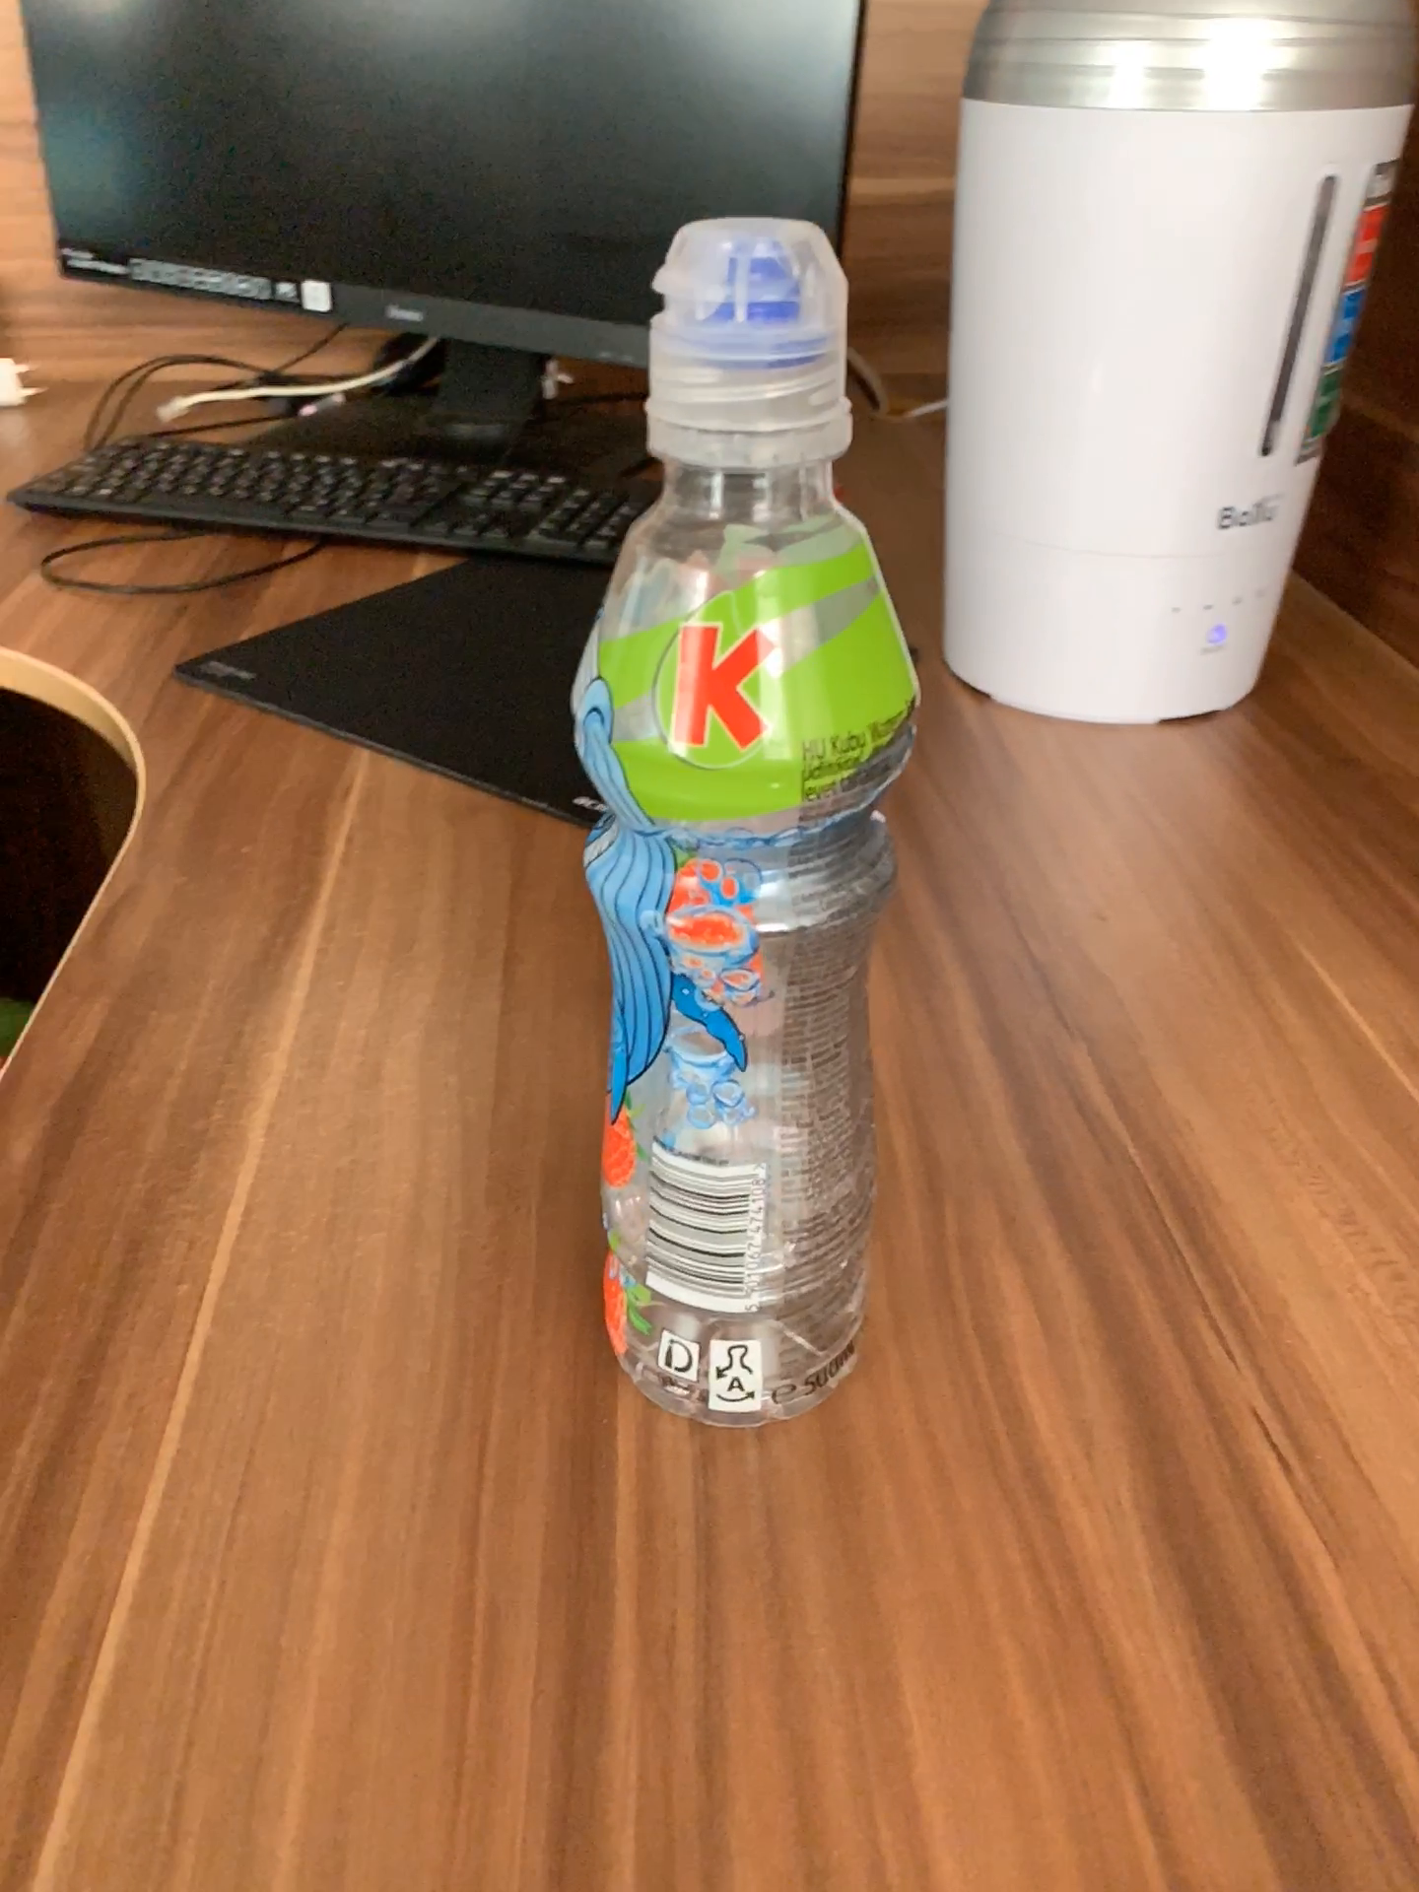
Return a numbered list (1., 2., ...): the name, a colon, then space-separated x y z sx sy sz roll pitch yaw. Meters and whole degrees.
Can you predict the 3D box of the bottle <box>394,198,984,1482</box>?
1. bottle: 0.000 -0.010 0.290 0.070 0.239 0.070 0 32 0
